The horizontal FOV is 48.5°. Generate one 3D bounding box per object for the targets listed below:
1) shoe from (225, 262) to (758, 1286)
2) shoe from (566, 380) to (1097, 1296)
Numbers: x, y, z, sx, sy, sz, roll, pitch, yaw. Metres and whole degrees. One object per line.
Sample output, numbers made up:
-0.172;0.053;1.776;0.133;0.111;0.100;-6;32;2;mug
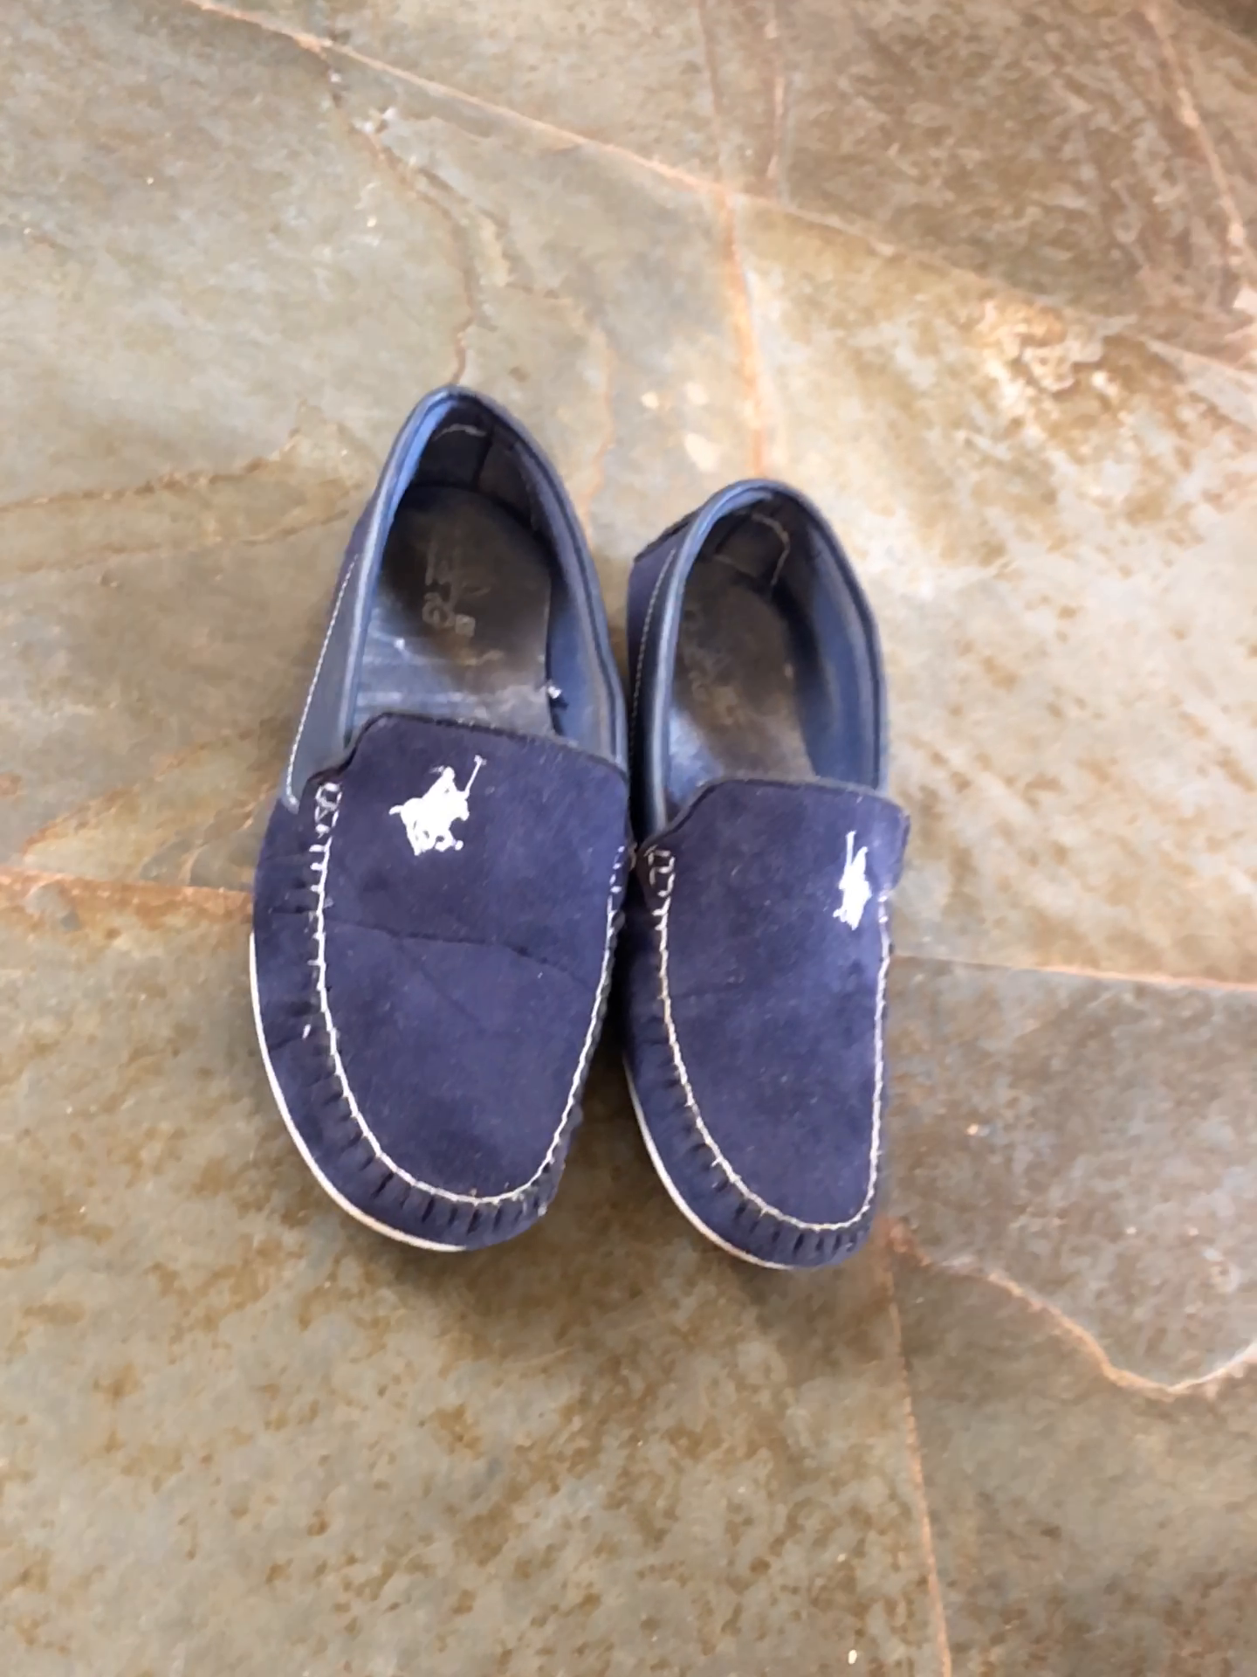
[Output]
-0.043;-0.019;0.387;0.100;0.089;0.261;9;60;-24;shoe
0.049;-0.001;0.434;0.100;0.089;0.261;9;60;-24;shoe
